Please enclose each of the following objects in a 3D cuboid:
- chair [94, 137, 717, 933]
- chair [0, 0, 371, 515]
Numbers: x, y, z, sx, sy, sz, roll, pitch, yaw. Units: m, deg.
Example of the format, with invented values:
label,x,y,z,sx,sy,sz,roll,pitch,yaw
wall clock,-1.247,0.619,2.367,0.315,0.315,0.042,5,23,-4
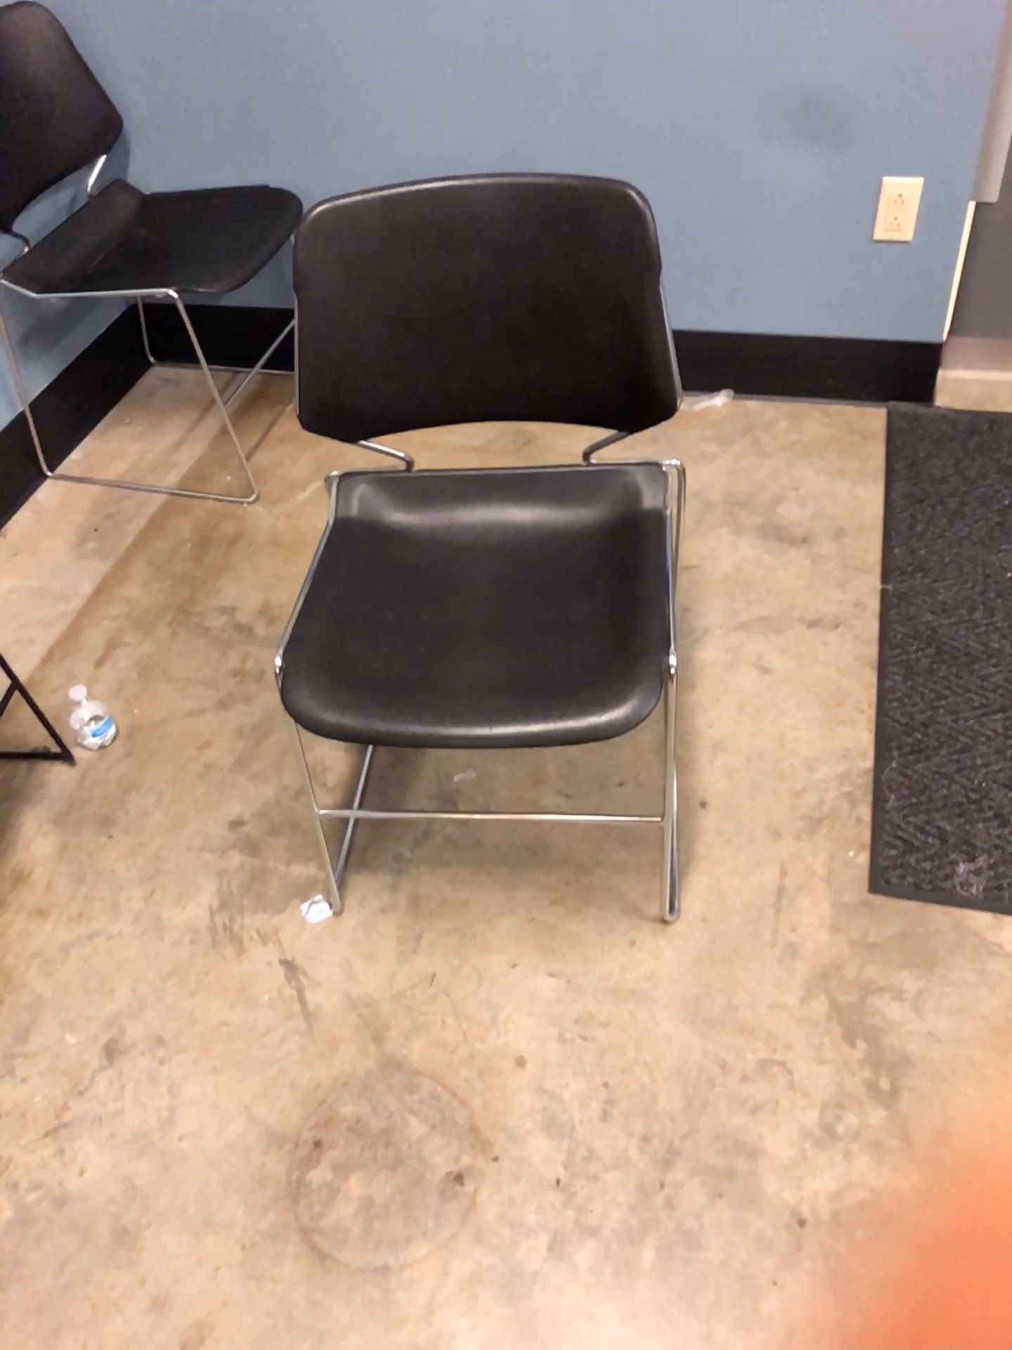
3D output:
label,x,y,z,sx,sy,sz,roll,pitch,yaw
chair,-0.030,-0.141,1.400,0.531,0.799,0.546,0,45,8
chair,-0.708,-0.827,2.165,0.595,0.799,0.552,8,46,15
